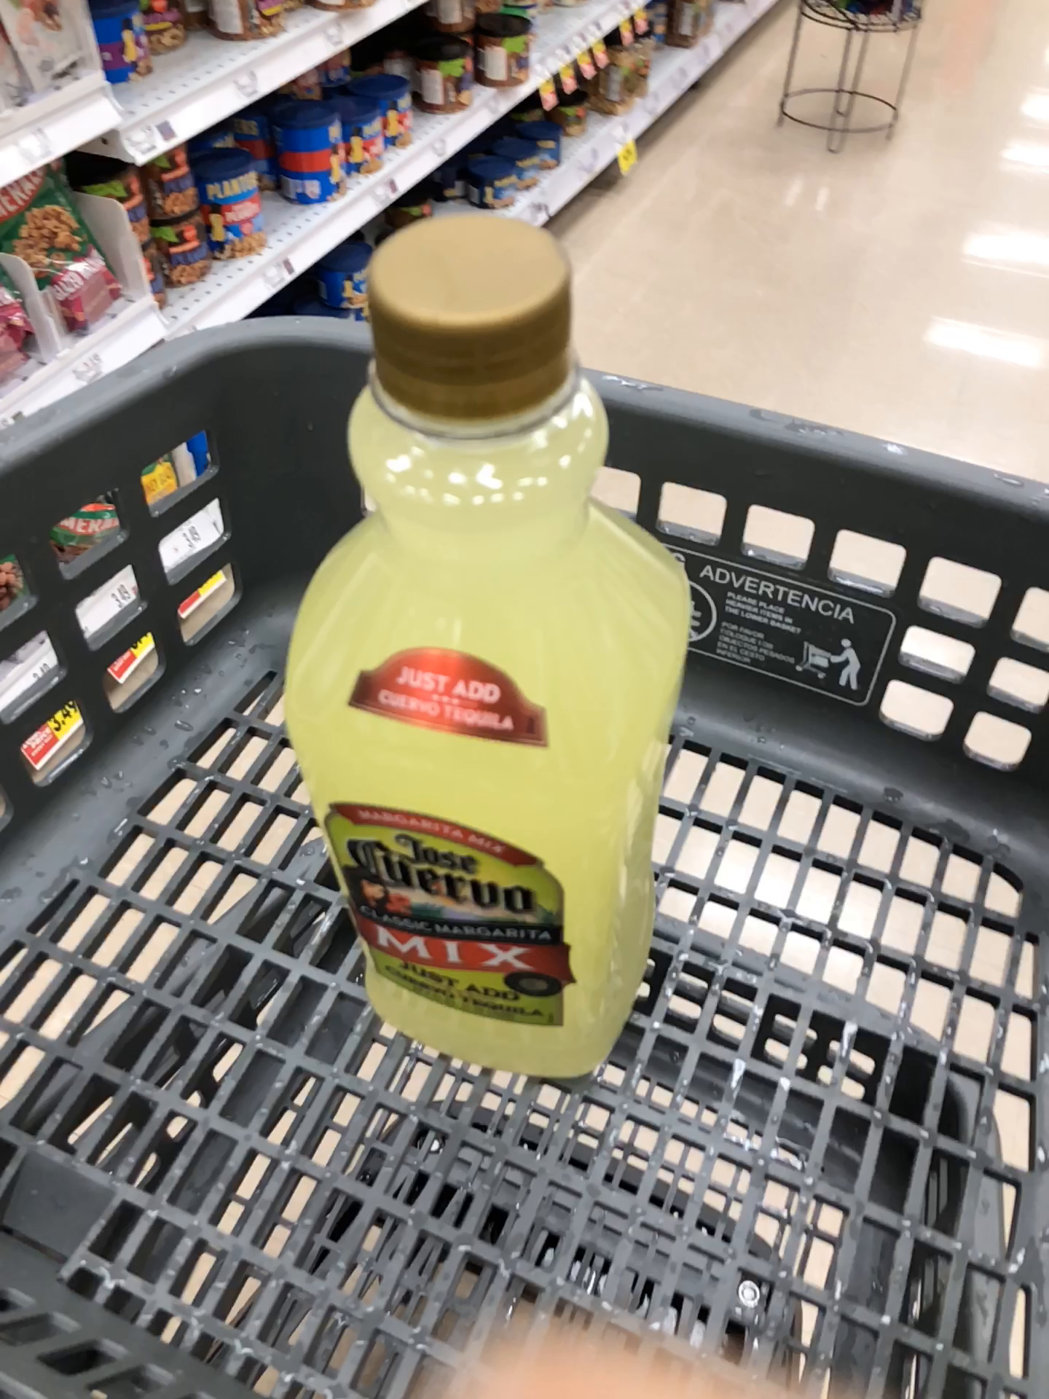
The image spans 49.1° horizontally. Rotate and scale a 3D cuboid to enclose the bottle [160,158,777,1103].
[{"bbox_3d":[-0.009,0.005,0.343,0.110,0.279,0.080,13,47,12],"label":"bottle"}]
